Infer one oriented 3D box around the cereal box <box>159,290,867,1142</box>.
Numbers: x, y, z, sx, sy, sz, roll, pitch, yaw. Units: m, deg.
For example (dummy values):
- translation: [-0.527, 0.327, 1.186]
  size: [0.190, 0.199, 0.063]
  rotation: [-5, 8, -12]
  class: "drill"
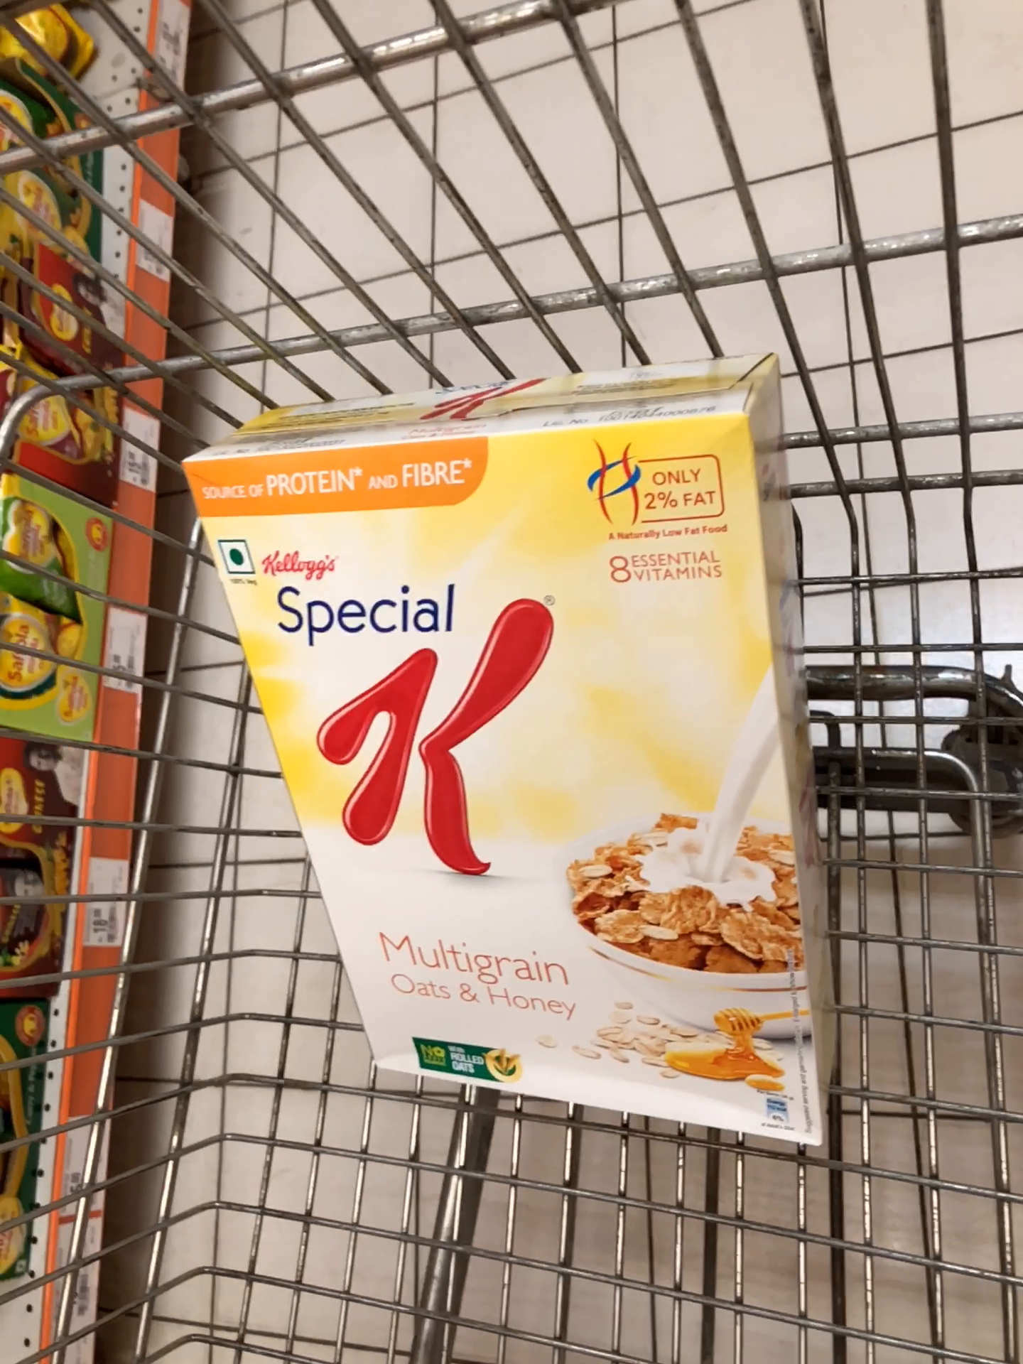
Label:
- translation: [0.018, 0.019, 0.409]
  size: [0.190, 0.090, 0.269]
  rotation: [0, 118, 23]
  class: "cereal box"
